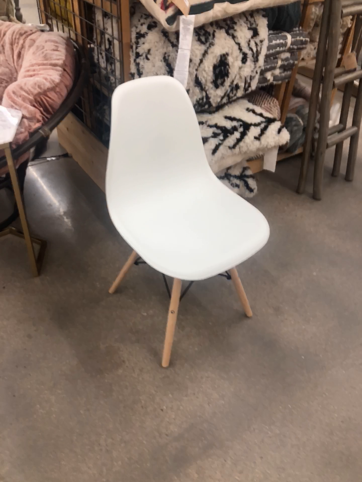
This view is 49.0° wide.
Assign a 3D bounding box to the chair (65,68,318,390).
[{"bbox_3d":[-0.011,-0.040,1.306,0.441,0.805,0.532,-23,47,-27],"label":"chair"}]
